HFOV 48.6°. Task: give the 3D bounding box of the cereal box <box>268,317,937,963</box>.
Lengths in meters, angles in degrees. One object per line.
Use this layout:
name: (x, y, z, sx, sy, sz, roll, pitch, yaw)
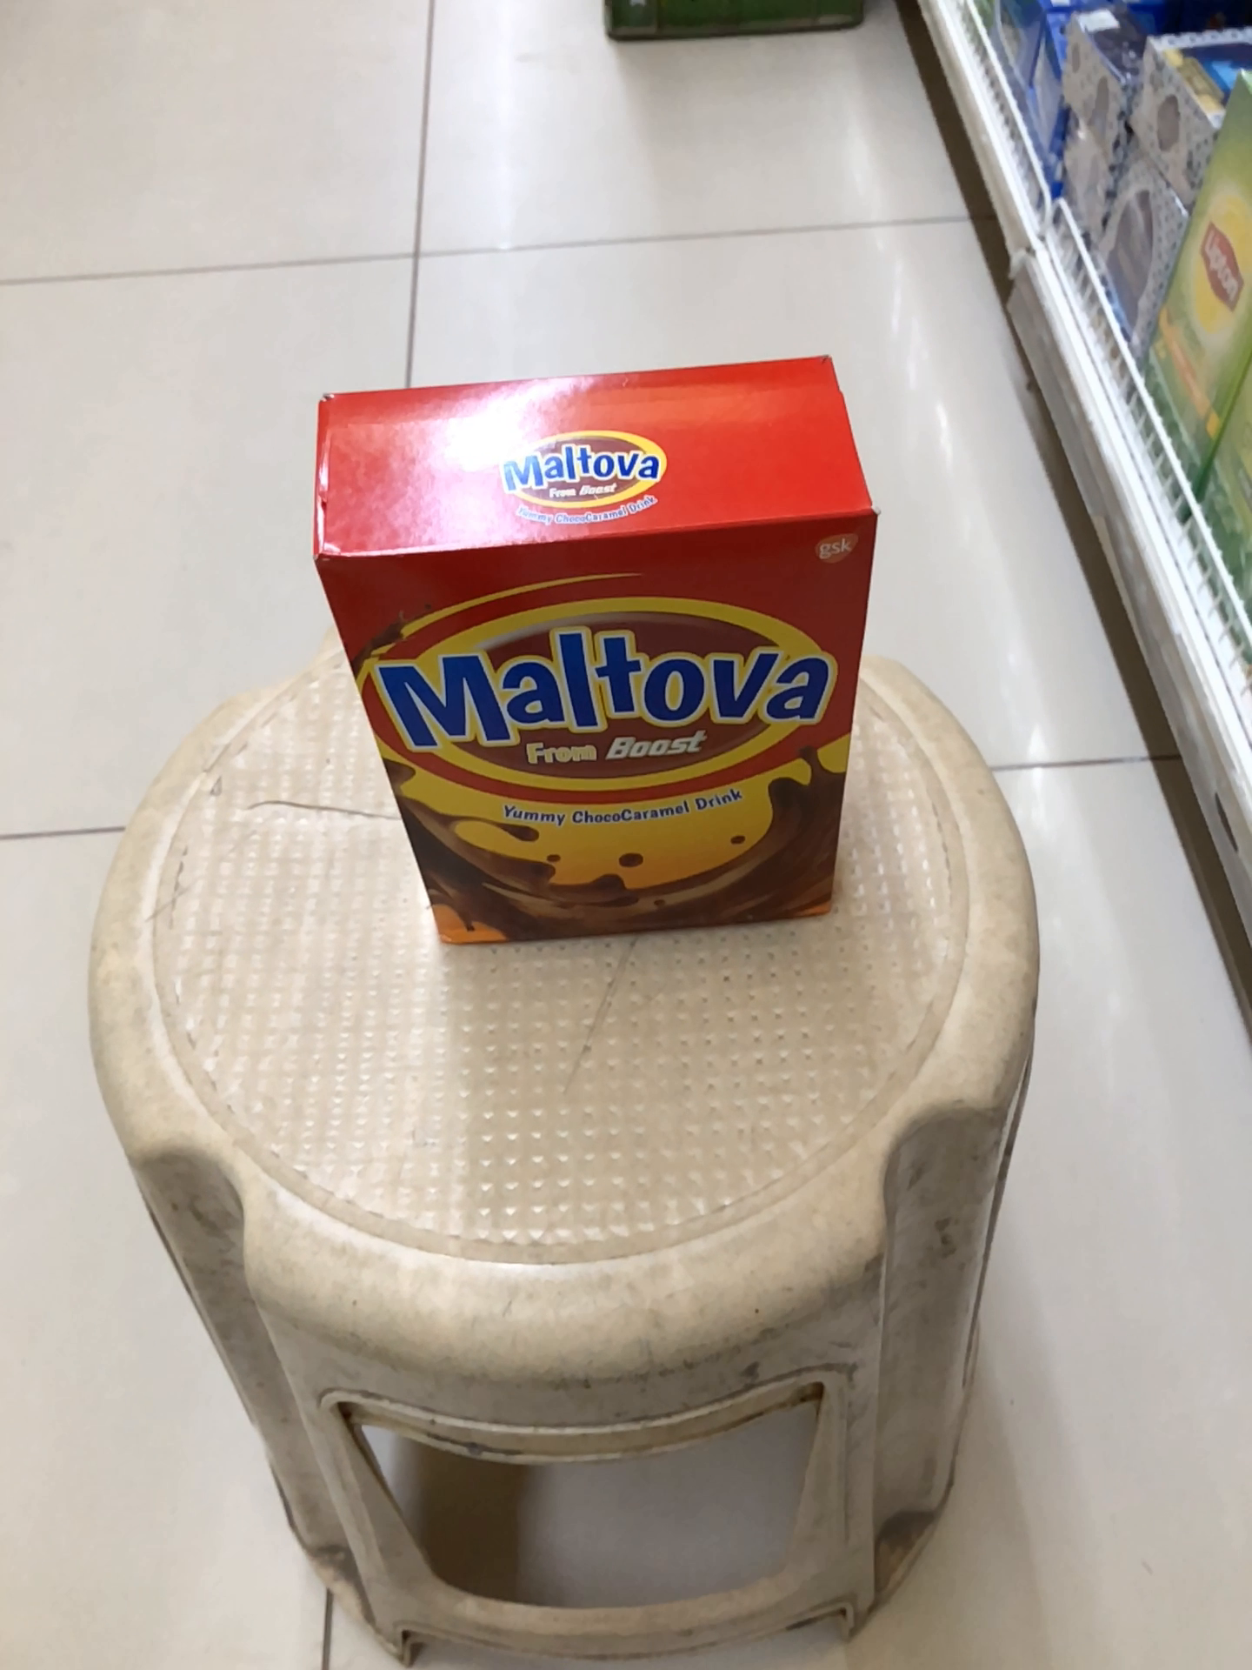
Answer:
cereal box: (-0.004, -0.045, 0.403, 0.150, 0.179, 0.070, -4, 54, 0)
